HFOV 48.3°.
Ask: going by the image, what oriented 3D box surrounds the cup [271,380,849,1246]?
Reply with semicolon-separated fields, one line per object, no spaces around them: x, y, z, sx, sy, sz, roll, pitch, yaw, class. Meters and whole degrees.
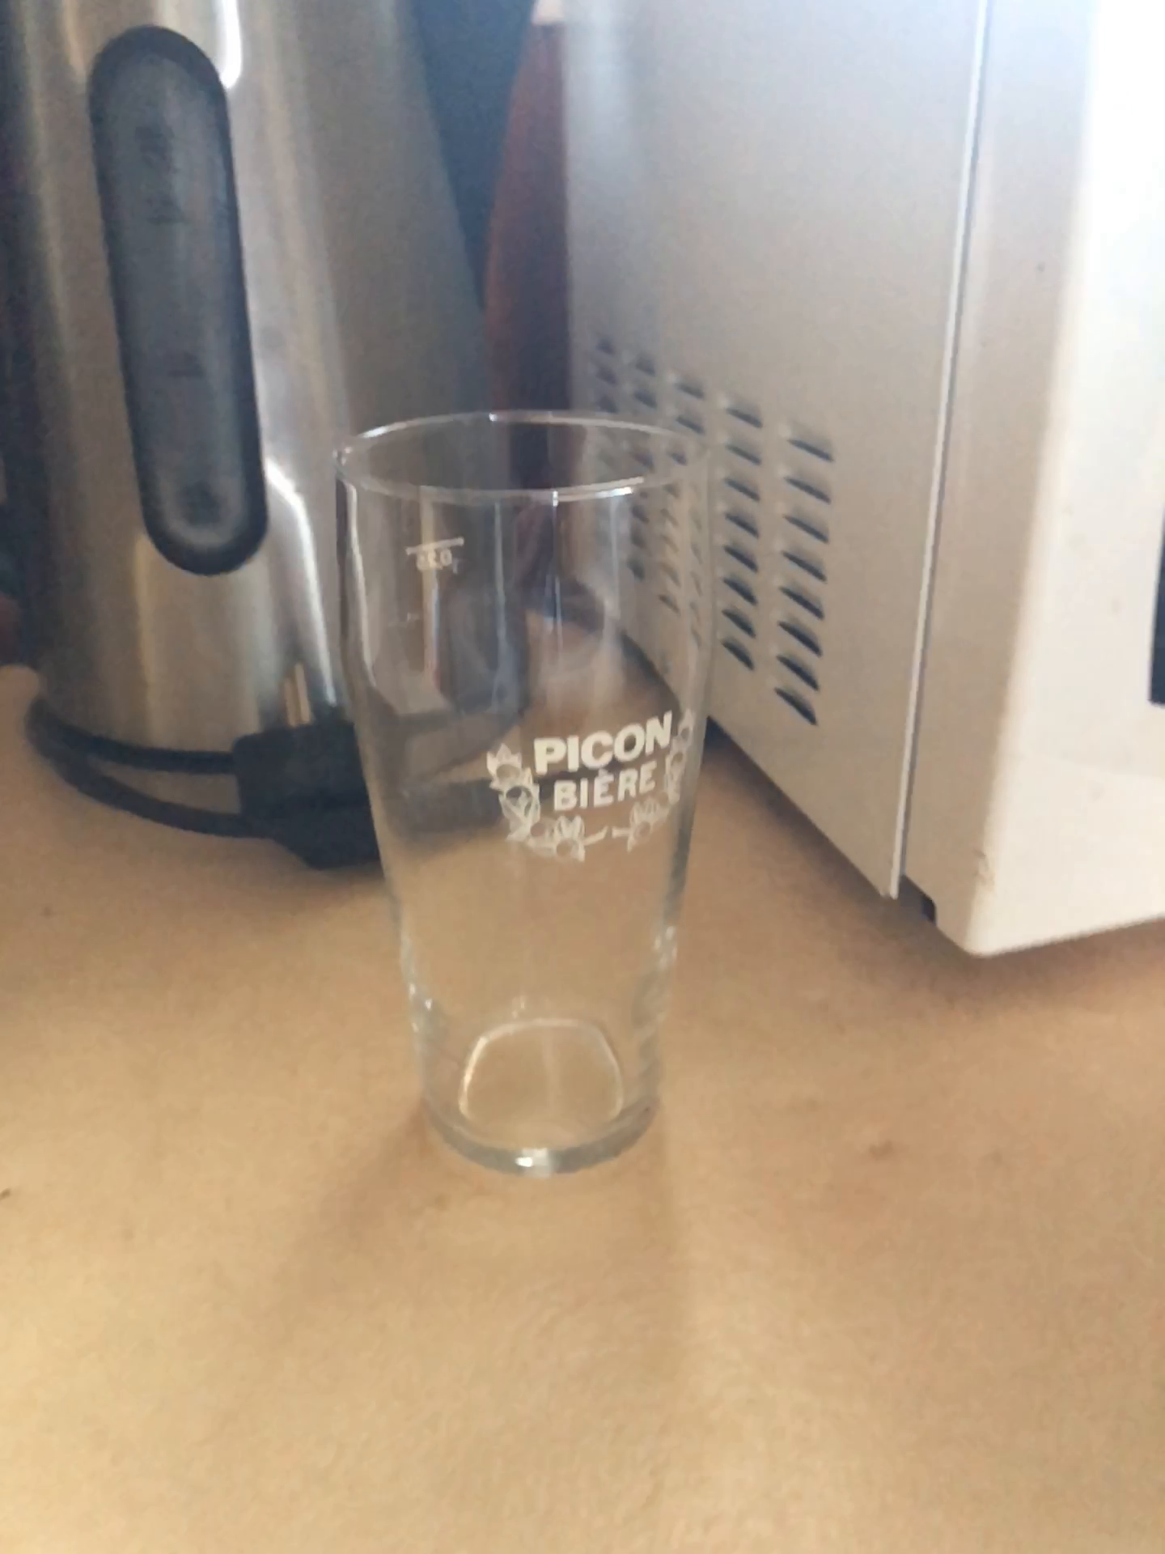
-0.006;0.002;0.240;0.070;0.129;0.070;-1;26;0;cup
